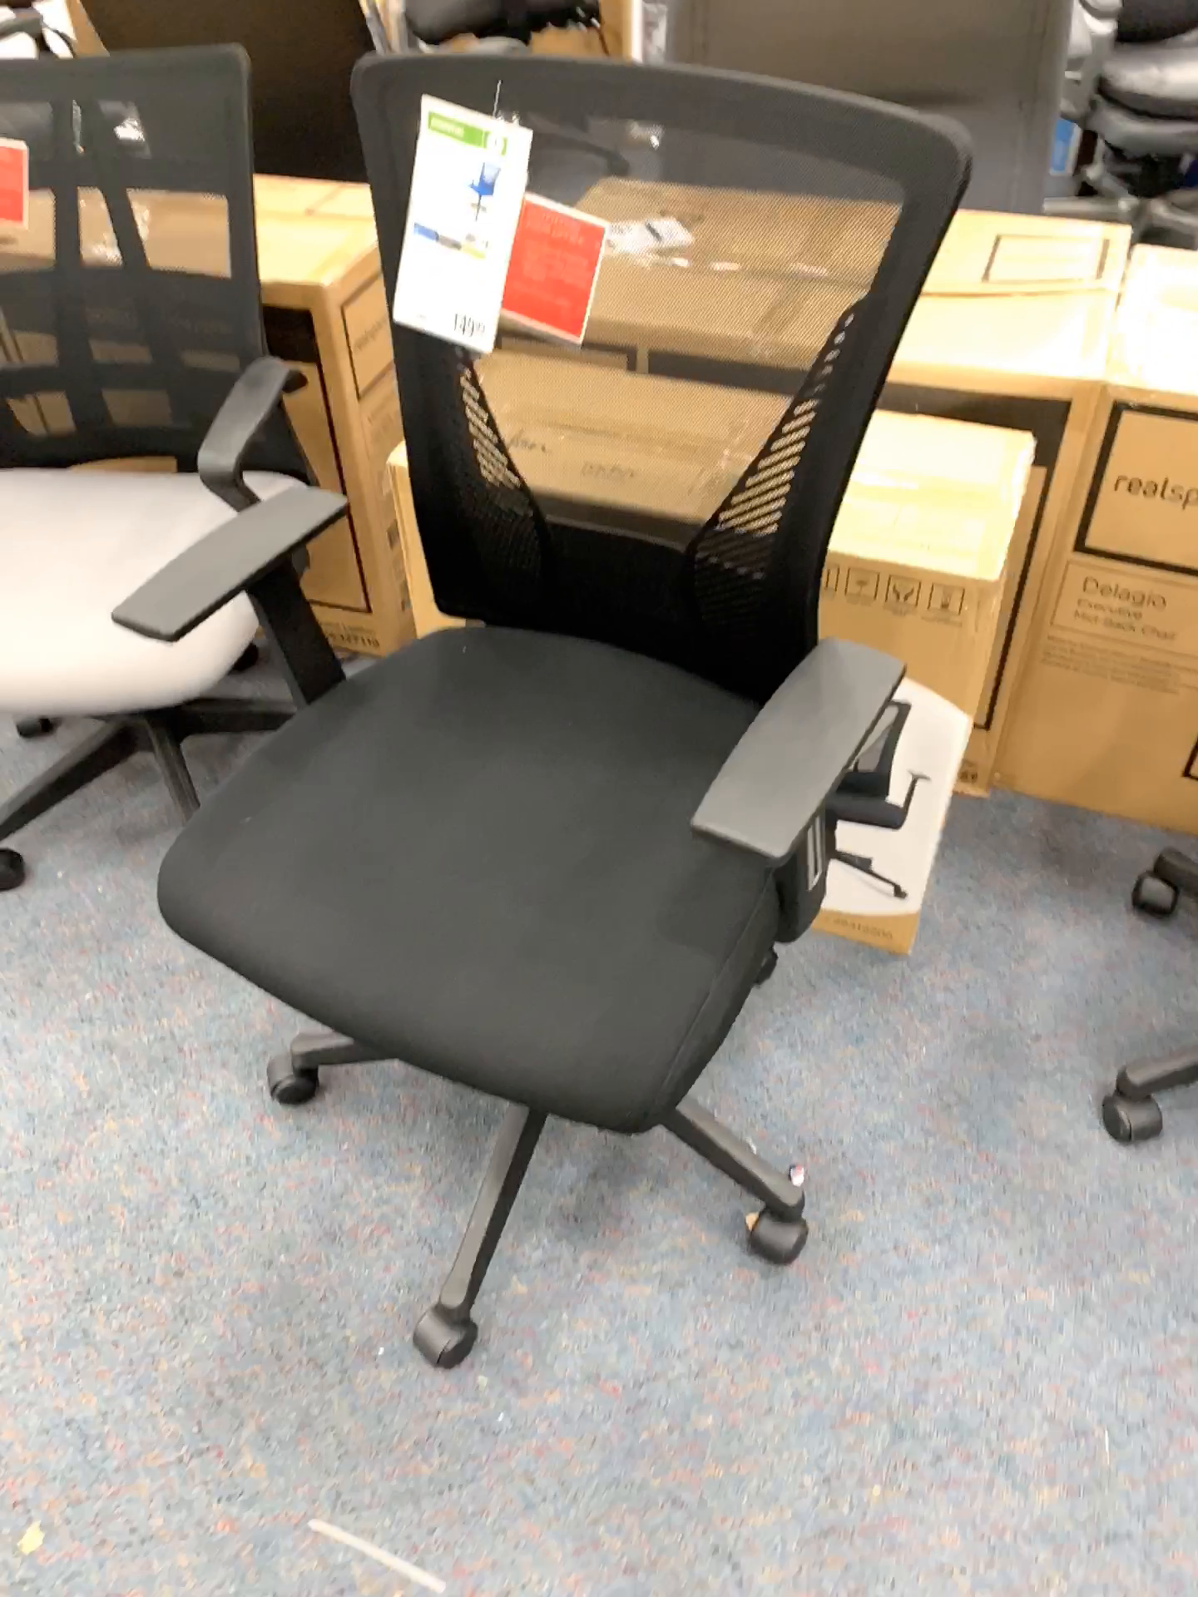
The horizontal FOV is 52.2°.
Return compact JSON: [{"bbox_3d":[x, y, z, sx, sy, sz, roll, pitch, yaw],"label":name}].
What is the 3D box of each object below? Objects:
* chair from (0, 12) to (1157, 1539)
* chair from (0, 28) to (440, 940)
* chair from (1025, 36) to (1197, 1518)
[{"bbox_3d":[-0.072,-0.015,1.070,0.682,0.974,0.681,20,49,21],"label":"chair"},{"bbox_3d":[-0.657,-0.400,1.579,0.621,0.875,0.681,7,45,10],"label":"chair"},{"bbox_3d":[0.907,-0.027,1.092,0.672,0.934,0.711,20,49,21],"label":"chair"}]
